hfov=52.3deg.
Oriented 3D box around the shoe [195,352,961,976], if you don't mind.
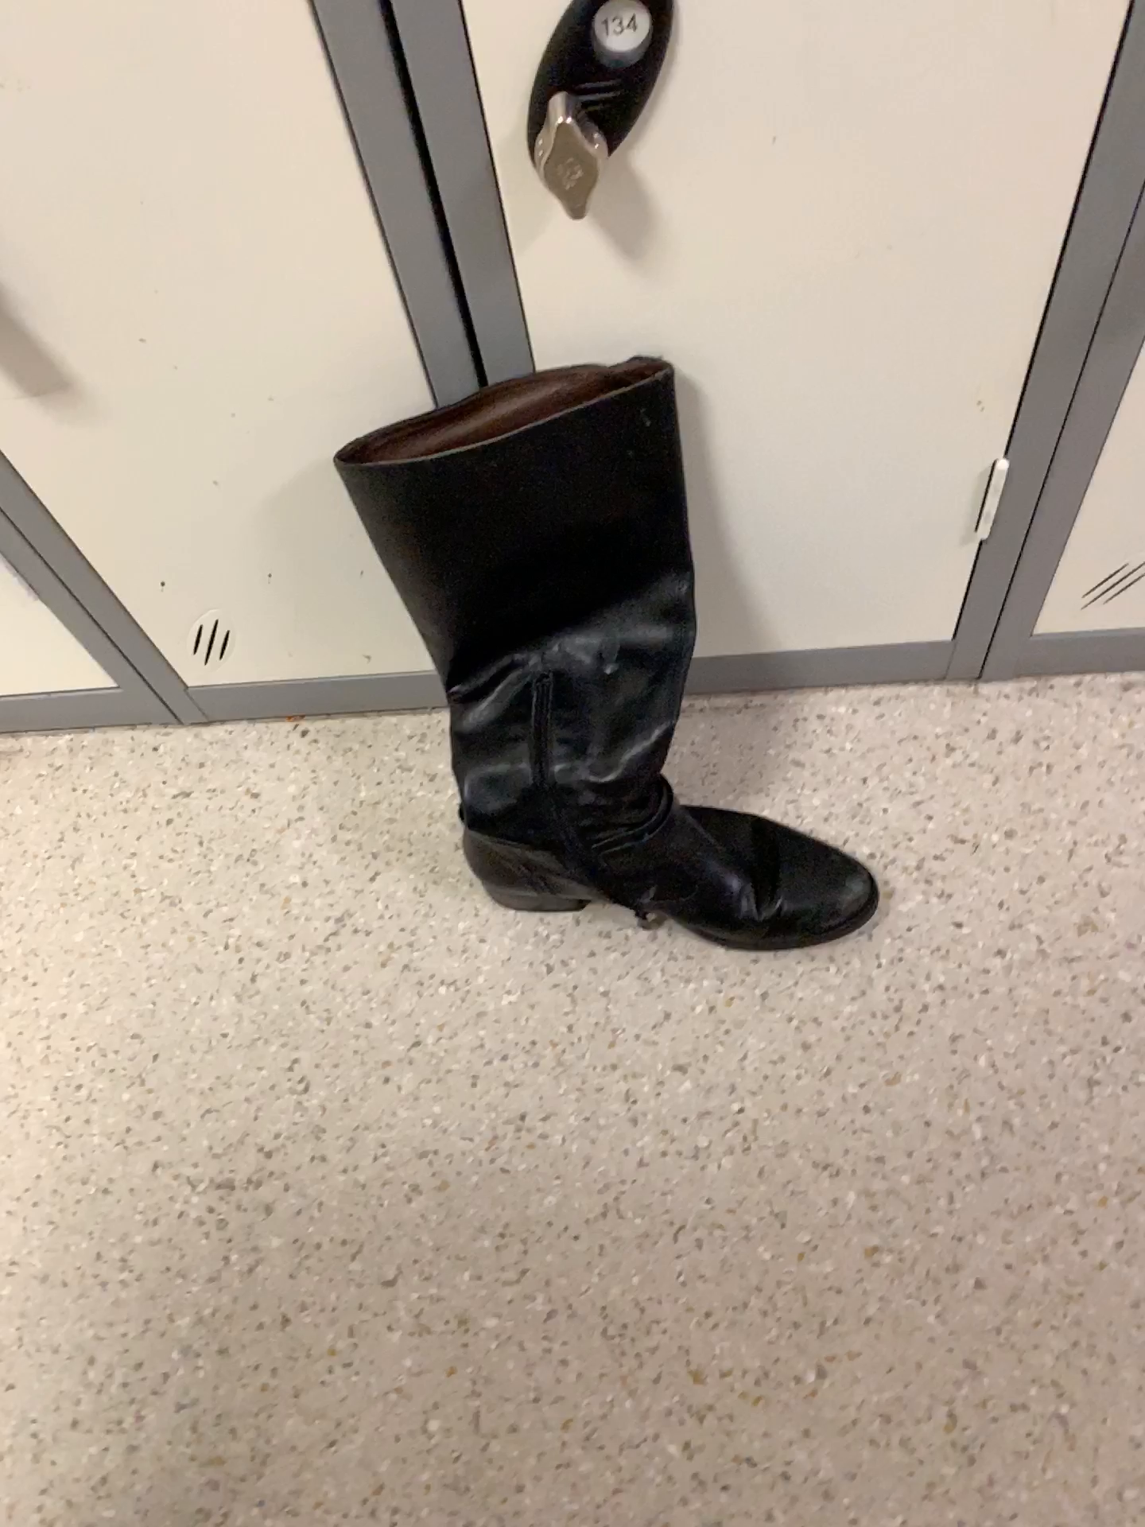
[{"bbox_3d":[0.028,-0.037,0.650,0.314,0.331,0.168,5,60,12],"label":"shoe"}]
